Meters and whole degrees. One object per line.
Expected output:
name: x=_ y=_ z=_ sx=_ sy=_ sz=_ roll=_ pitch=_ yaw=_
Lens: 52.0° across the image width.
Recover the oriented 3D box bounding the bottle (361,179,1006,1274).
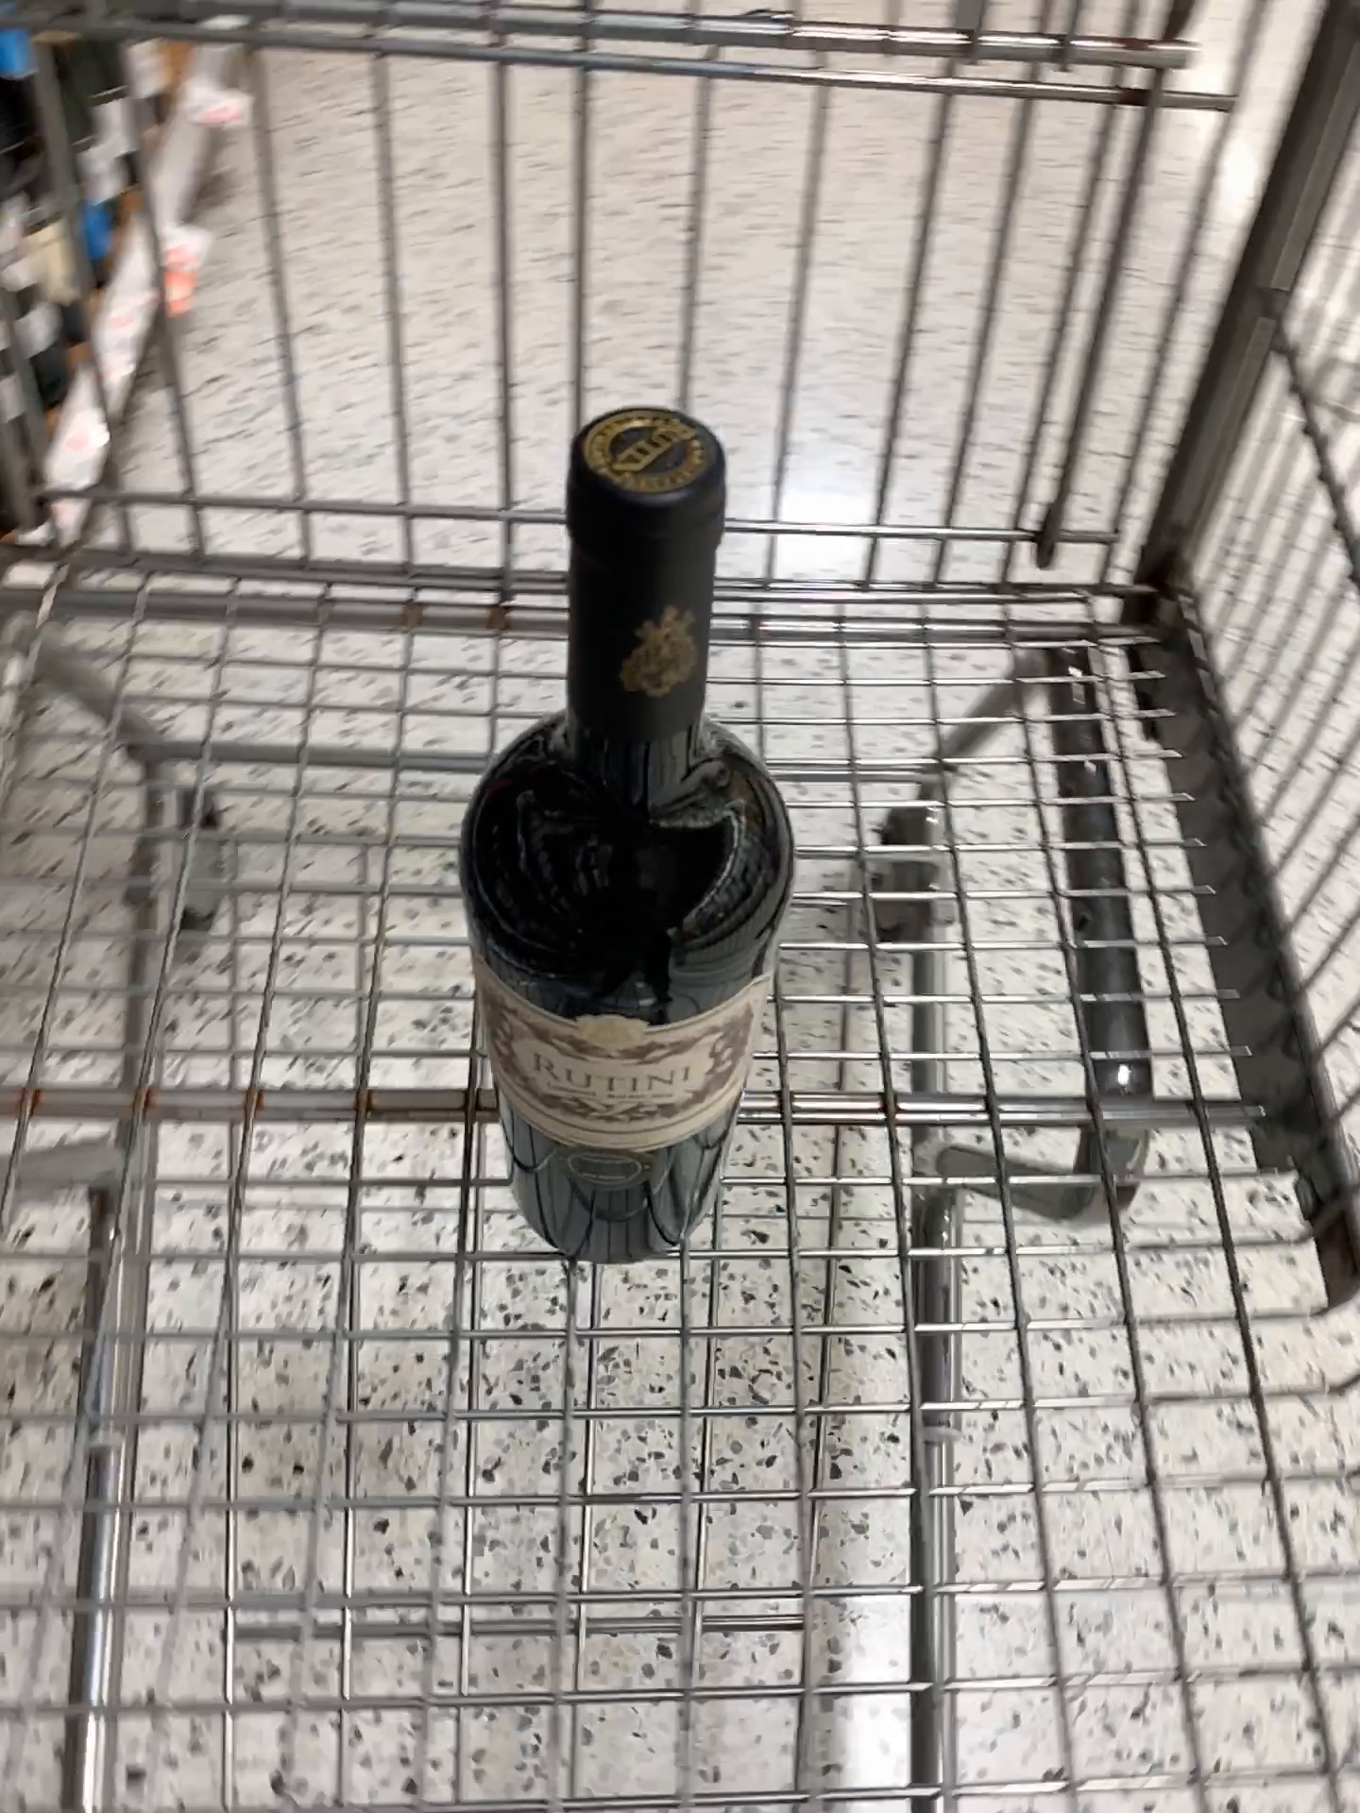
bottle: x=-0.011 y=-0.005 z=0.346 sx=0.090 sy=0.298 sz=0.101 roll=1 pitch=57 yaw=-4
